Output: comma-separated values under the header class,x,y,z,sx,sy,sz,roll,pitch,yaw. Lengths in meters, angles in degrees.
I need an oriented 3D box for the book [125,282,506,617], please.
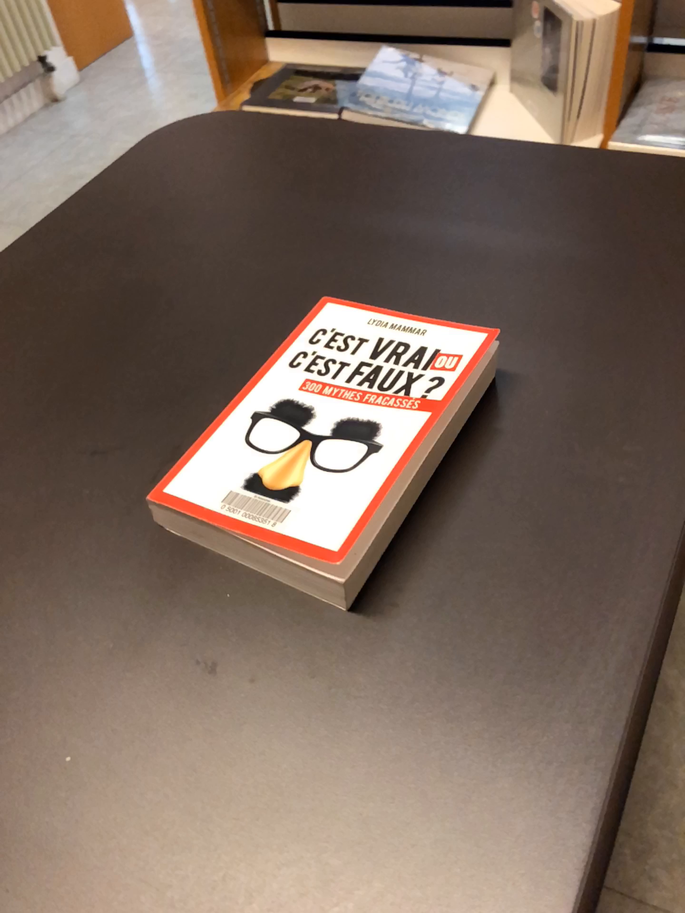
class,x,y,z,sx,sy,sz,roll,pitch,yaw
book,-0.007,-0.018,0.413,0.126,0.034,0.185,17,54,28
